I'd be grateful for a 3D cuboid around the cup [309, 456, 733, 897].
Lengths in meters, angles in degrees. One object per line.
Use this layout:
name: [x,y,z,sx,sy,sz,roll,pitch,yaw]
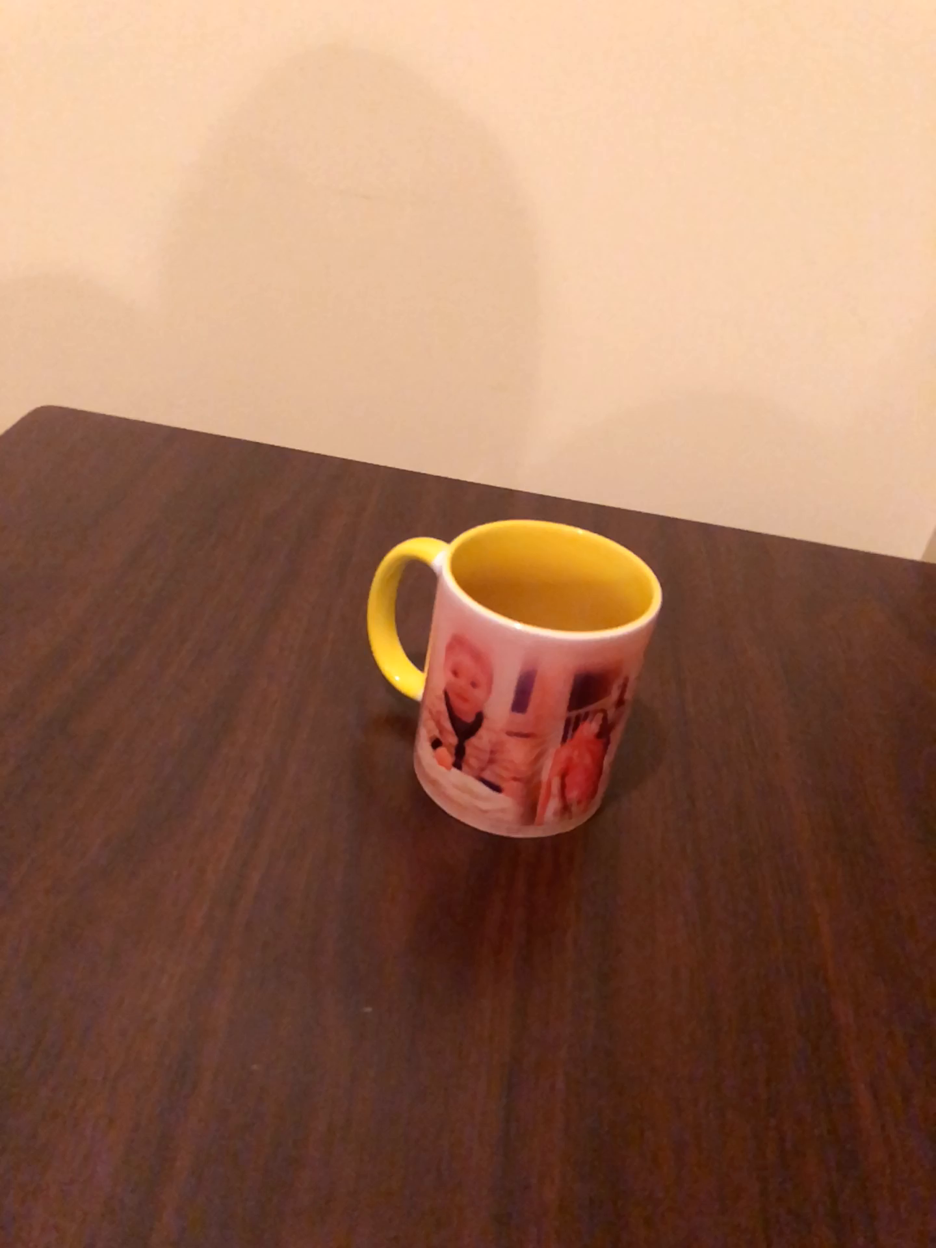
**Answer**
cup: [0.018,0.014,0.391,0.120,0.099,0.090,22,35,18]
